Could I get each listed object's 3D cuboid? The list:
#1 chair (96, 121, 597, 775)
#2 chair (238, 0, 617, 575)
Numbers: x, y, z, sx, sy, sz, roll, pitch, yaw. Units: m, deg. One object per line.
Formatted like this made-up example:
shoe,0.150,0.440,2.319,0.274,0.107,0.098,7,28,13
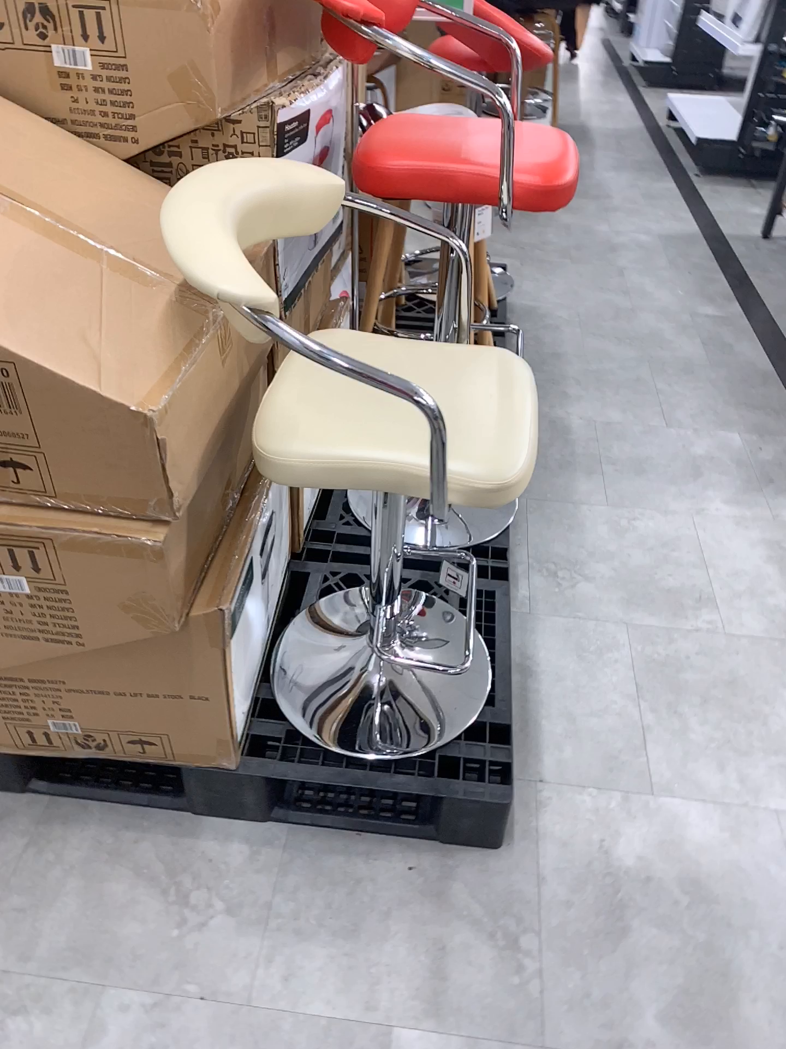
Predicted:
chair,-0.037,-0.092,1.230,0.499,0.841,0.469,5,39,4
chair,0.055,-0.477,1.605,0.519,1.058,0.479,5,39,4
